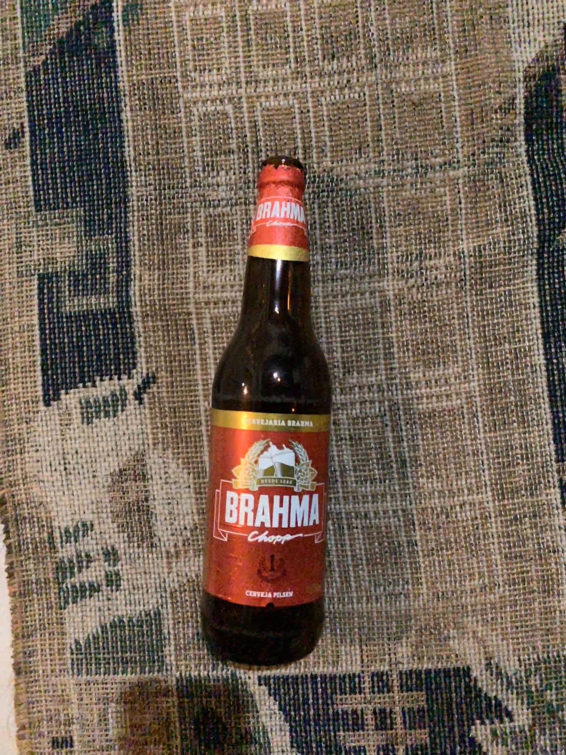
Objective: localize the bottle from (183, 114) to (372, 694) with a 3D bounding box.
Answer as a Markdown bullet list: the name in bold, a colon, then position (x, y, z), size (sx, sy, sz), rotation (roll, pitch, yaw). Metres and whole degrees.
- **bottle**: position (-0.002, 0.012, 0.315), size (0.080, 0.060, 0.280), rotation (3, 88, -1)
